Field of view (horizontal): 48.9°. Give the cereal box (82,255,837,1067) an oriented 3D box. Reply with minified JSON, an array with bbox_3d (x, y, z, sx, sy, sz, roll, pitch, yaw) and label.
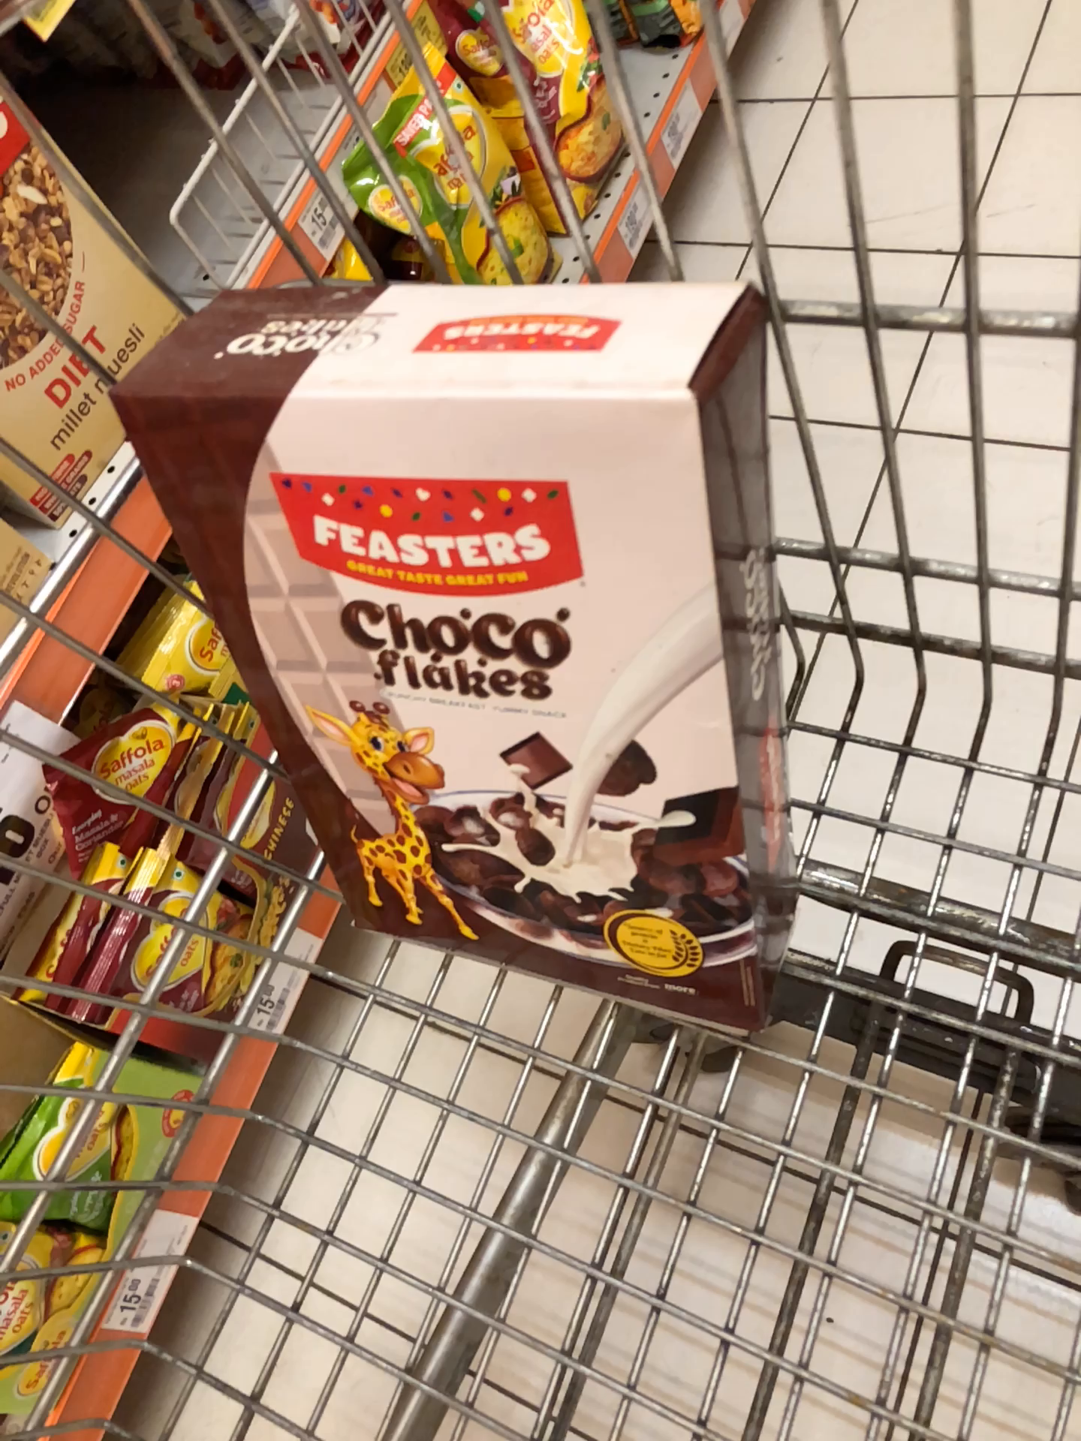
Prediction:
[{"bbox_3d":[-0.005,-0.009,0.372,0.170,0.239,0.070,8,45,25],"label":"cereal box"}]
